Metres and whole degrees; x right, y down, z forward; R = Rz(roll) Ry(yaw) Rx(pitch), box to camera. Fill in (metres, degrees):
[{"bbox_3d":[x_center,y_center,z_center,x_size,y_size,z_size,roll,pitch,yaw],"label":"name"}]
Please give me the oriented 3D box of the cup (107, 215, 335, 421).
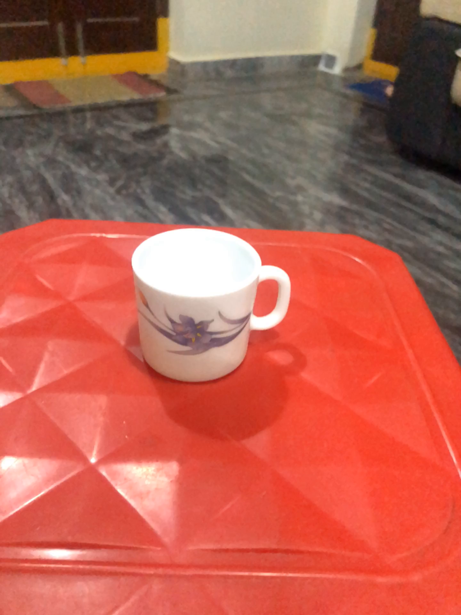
[{"bbox_3d":[-0.008,0.000,0.270,0.090,0.060,0.070,-14,40,-23],"label":"cup"}]
